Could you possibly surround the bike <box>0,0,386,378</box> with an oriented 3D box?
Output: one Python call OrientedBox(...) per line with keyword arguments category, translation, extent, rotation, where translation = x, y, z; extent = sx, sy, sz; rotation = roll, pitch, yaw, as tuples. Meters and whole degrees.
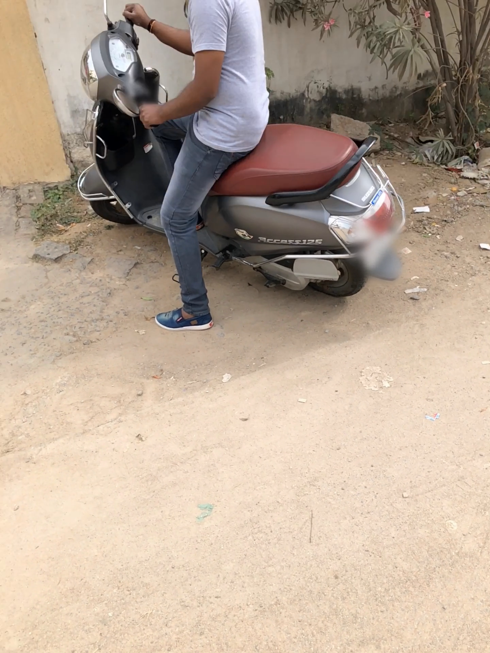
OrientedBox(category="bike", translation=(-0.299, -0.681, 2.213), extent=(1.497, 1.195, 0.614), rotation=(17, 39, 24))
